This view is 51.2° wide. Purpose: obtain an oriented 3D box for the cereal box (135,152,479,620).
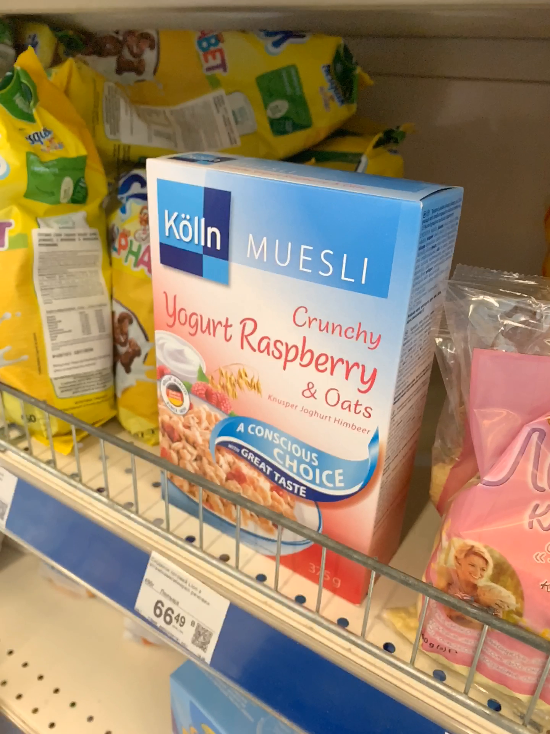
[{"bbox_3d":[0.006,0.004,0.310,0.150,0.208,0.060,19,30,30],"label":"cereal box"}]
